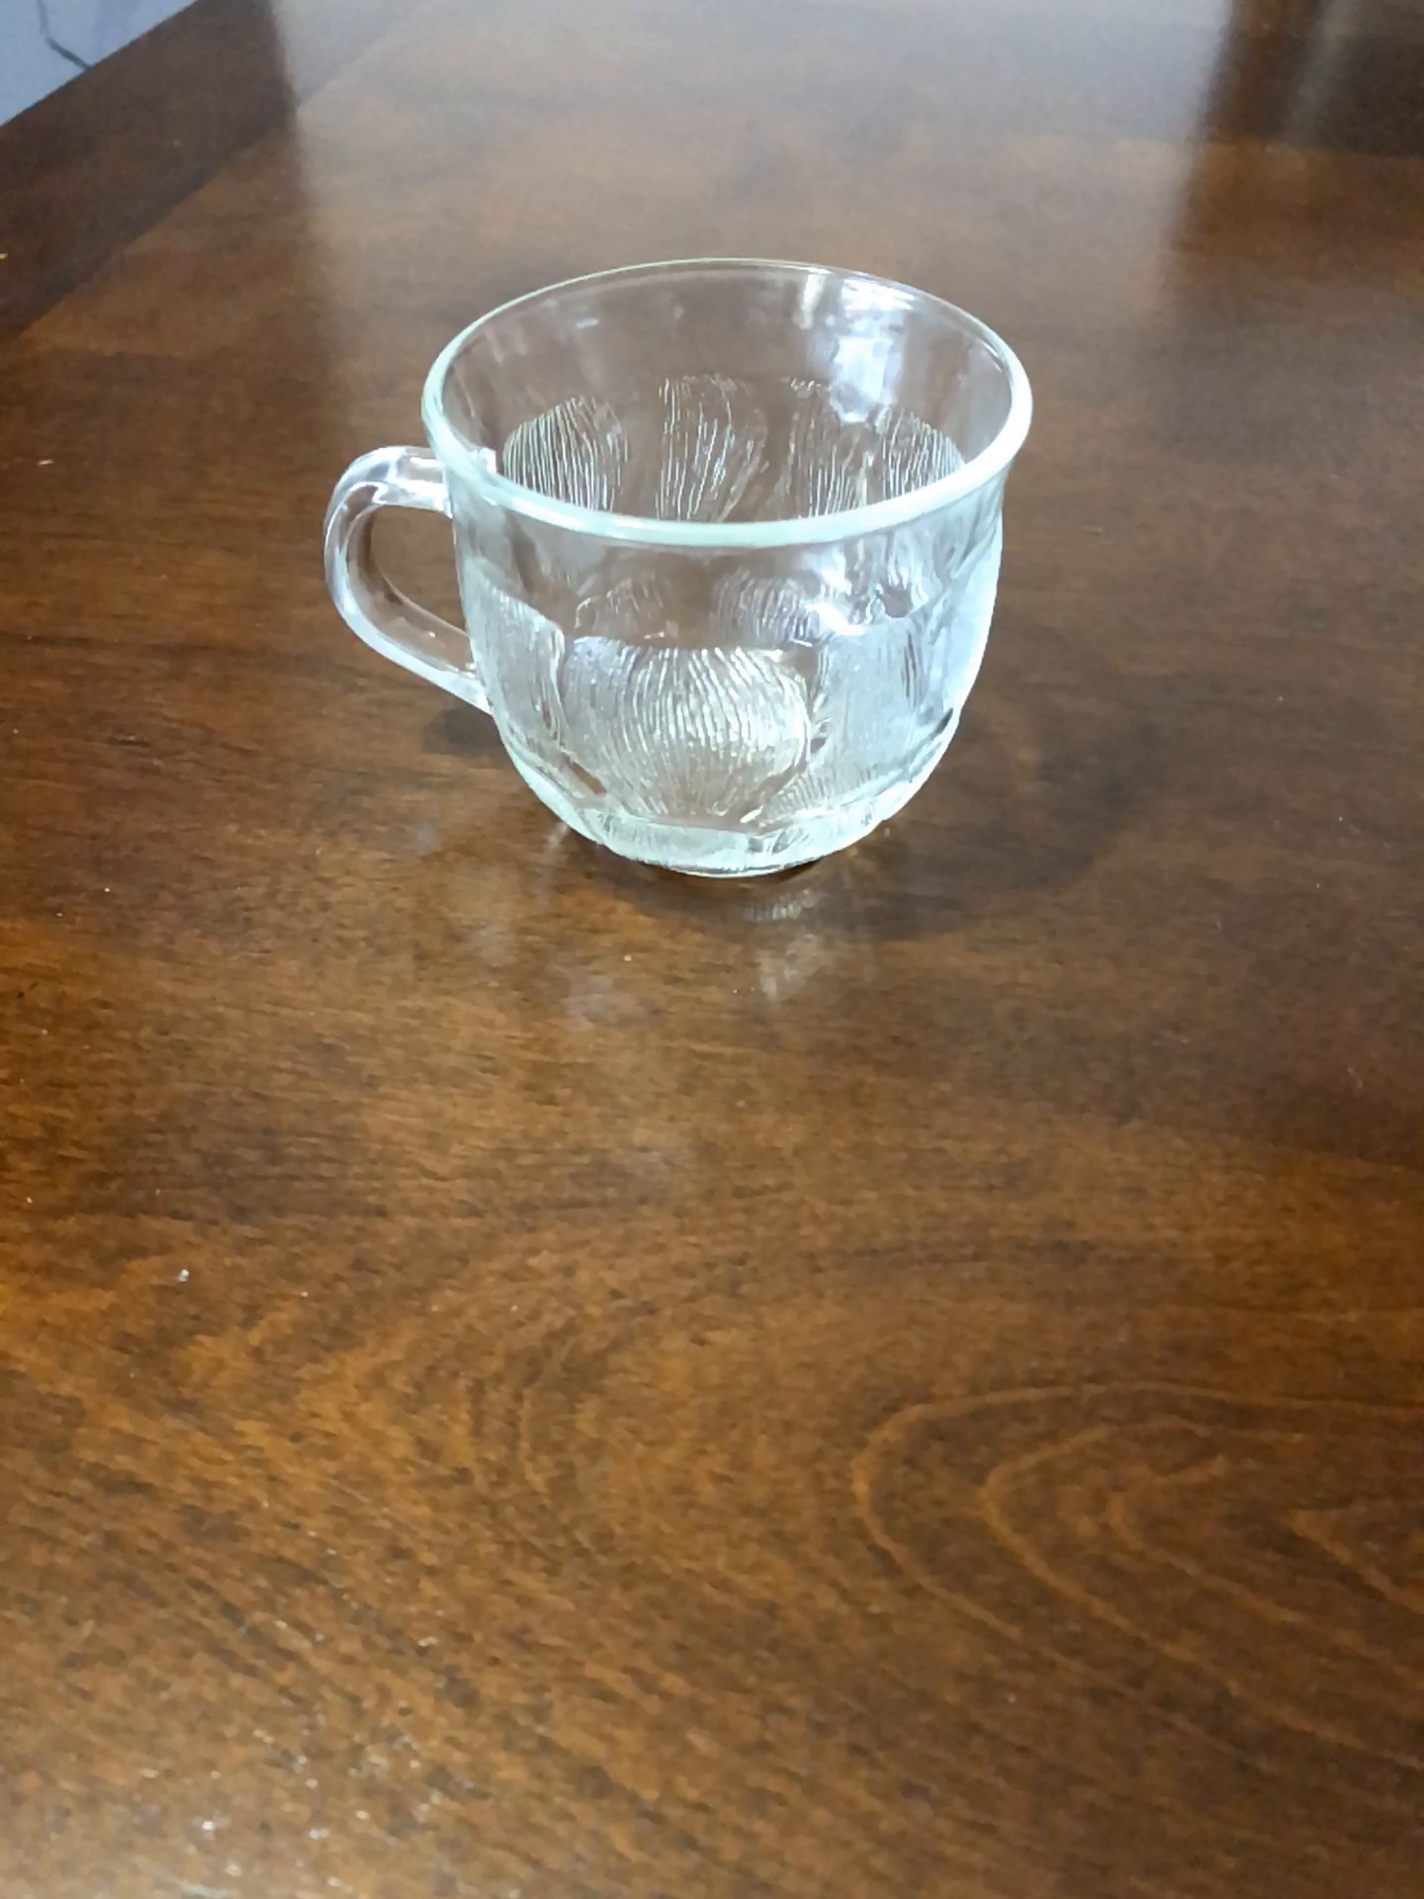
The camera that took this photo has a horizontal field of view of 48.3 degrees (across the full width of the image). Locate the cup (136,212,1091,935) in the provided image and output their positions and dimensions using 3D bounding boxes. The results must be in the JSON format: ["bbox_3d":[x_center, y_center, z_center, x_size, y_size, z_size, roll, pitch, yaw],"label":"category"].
[{"bbox_3d":[-0.006,-0.055,0.215,0.100,0.050,0.080,10,46,10],"label":"cup"}]
